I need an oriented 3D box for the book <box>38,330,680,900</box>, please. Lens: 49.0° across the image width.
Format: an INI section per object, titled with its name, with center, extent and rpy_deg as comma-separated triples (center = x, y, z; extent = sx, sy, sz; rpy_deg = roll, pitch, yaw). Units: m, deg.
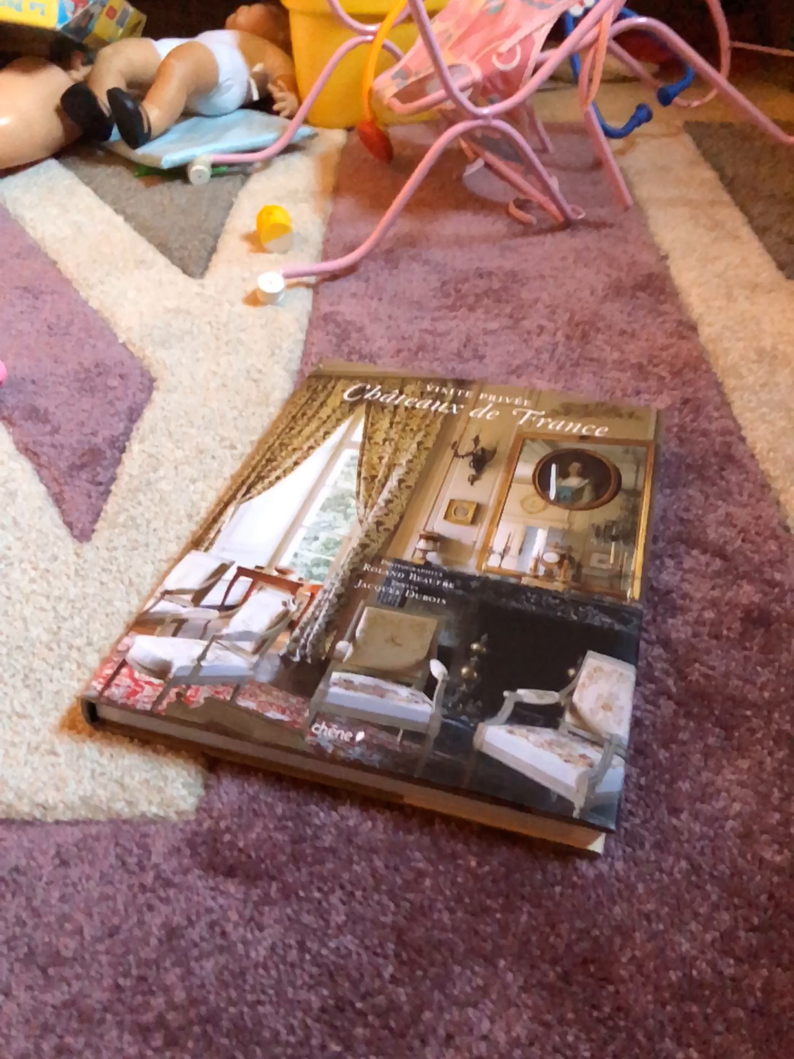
[book]
center = 0.014, 0.004, 0.501
extent = 0.260, 0.050, 0.342
rpy_deg = 11, 42, 13
